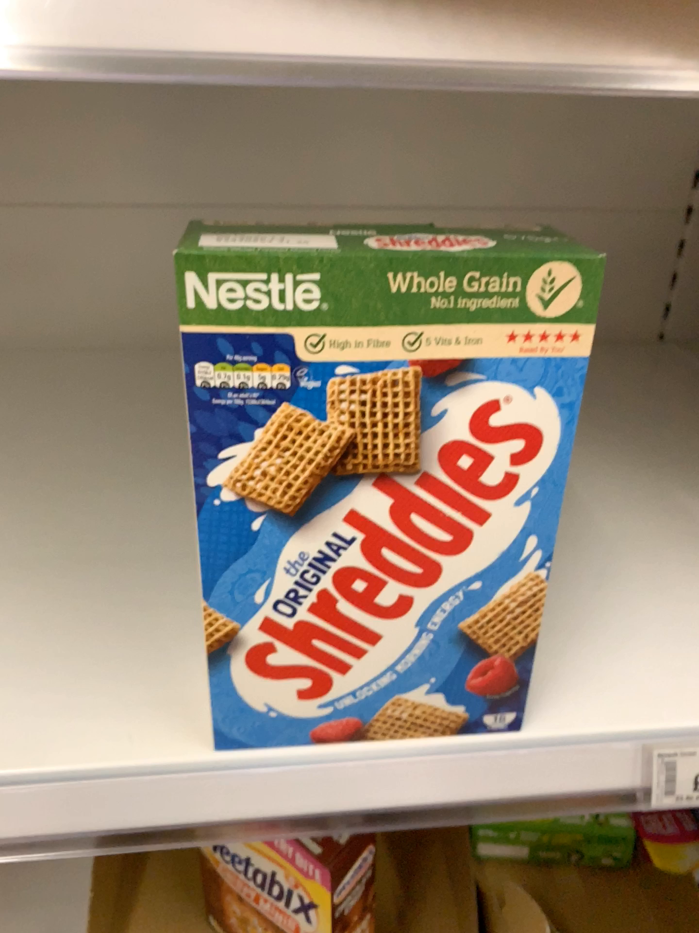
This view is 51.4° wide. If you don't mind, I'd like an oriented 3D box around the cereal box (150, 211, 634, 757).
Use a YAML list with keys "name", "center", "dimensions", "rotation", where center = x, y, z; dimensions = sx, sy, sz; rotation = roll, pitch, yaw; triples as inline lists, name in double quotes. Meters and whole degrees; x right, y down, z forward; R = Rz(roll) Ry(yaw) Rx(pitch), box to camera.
- name: "cereal box"
  center: [0.013, 0.018, 0.399]
  dimensions: [0.200, 0.287, 0.081]
  rotation: [-1, 28, -6]
